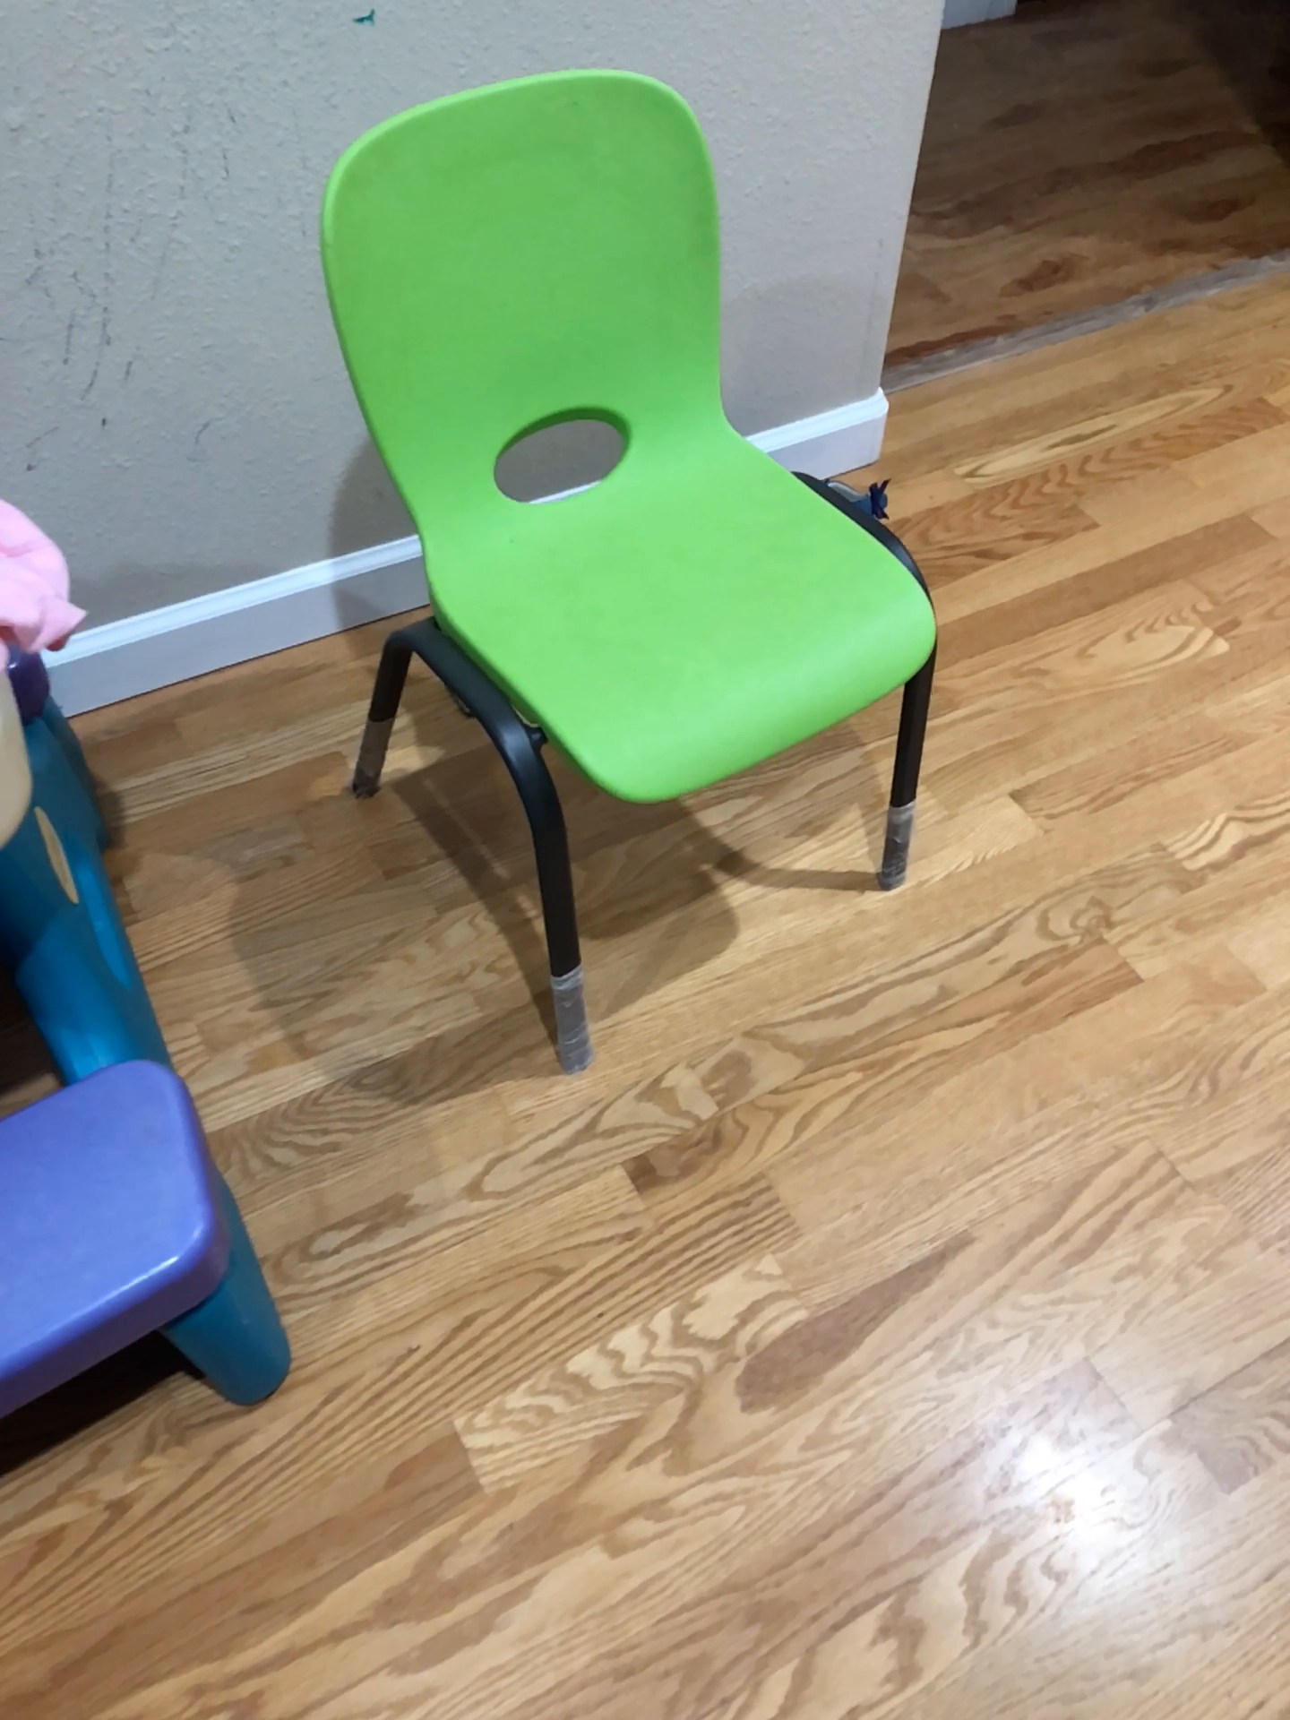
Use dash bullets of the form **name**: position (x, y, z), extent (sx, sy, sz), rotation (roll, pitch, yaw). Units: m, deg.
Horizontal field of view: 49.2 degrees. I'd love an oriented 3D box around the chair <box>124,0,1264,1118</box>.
- **chair**: position (0.009, -0.246, 1.067), extent (0.511, 0.557, 0.481), rotation (-26, 56, -22)
